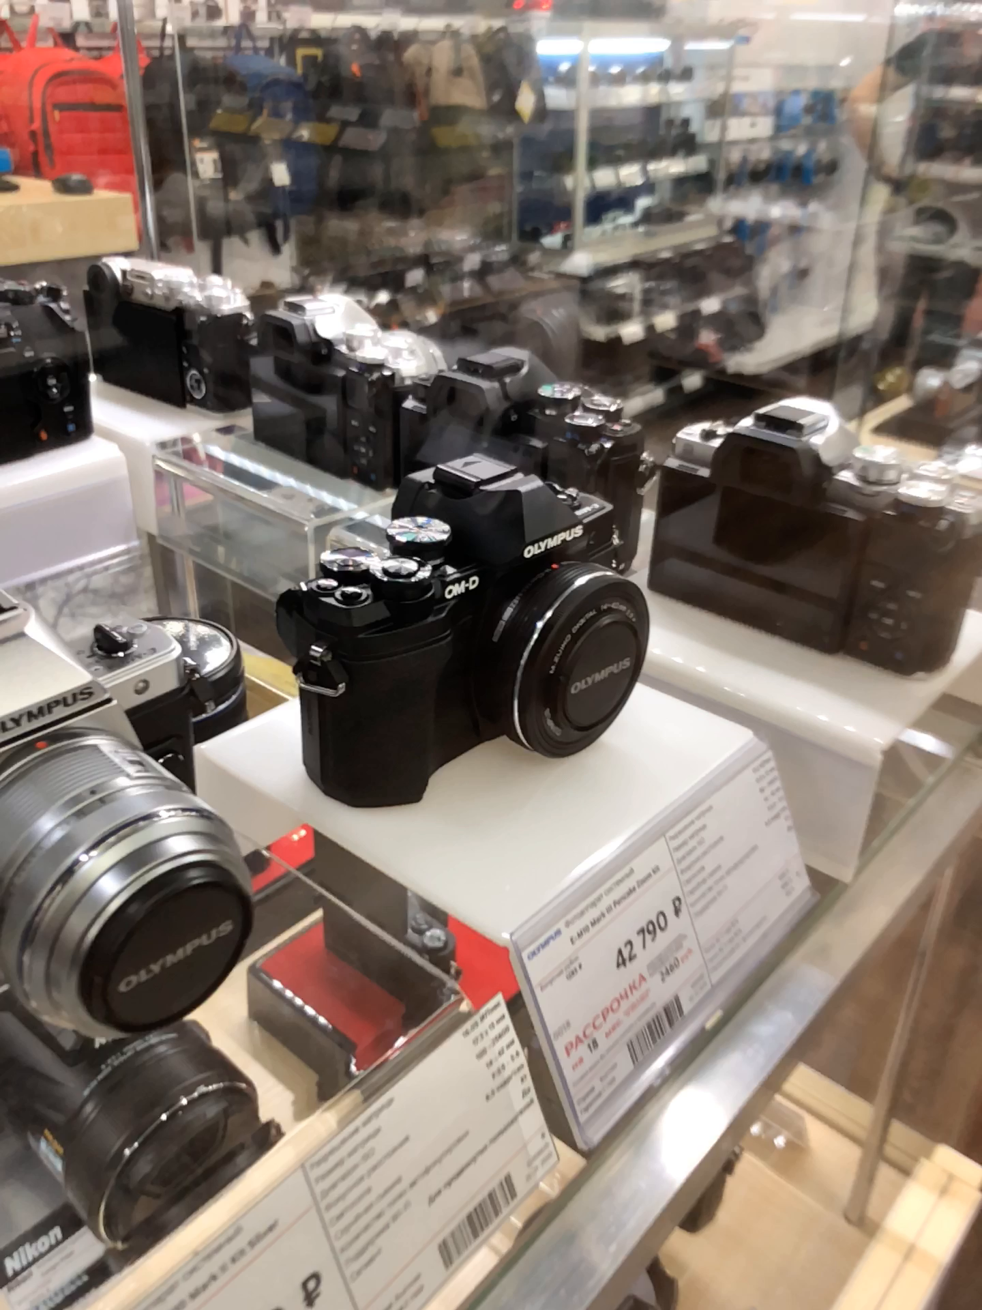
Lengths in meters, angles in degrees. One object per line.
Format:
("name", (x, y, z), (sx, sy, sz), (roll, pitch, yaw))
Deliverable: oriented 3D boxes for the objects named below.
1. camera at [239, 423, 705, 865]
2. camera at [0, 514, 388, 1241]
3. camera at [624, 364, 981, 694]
("camera", (-0.002, -0.012, 0.339), (0.064, 0.082, 0.130), (26, 37, 37))
("camera", (-0.097, 0.034, 0.240), (0.094, 0.080, 0.112), (26, 37, 37))
("camera", (0.133, -0.056, 0.425), (0.123, 0.074, 0.094), (23, 35, 33))
